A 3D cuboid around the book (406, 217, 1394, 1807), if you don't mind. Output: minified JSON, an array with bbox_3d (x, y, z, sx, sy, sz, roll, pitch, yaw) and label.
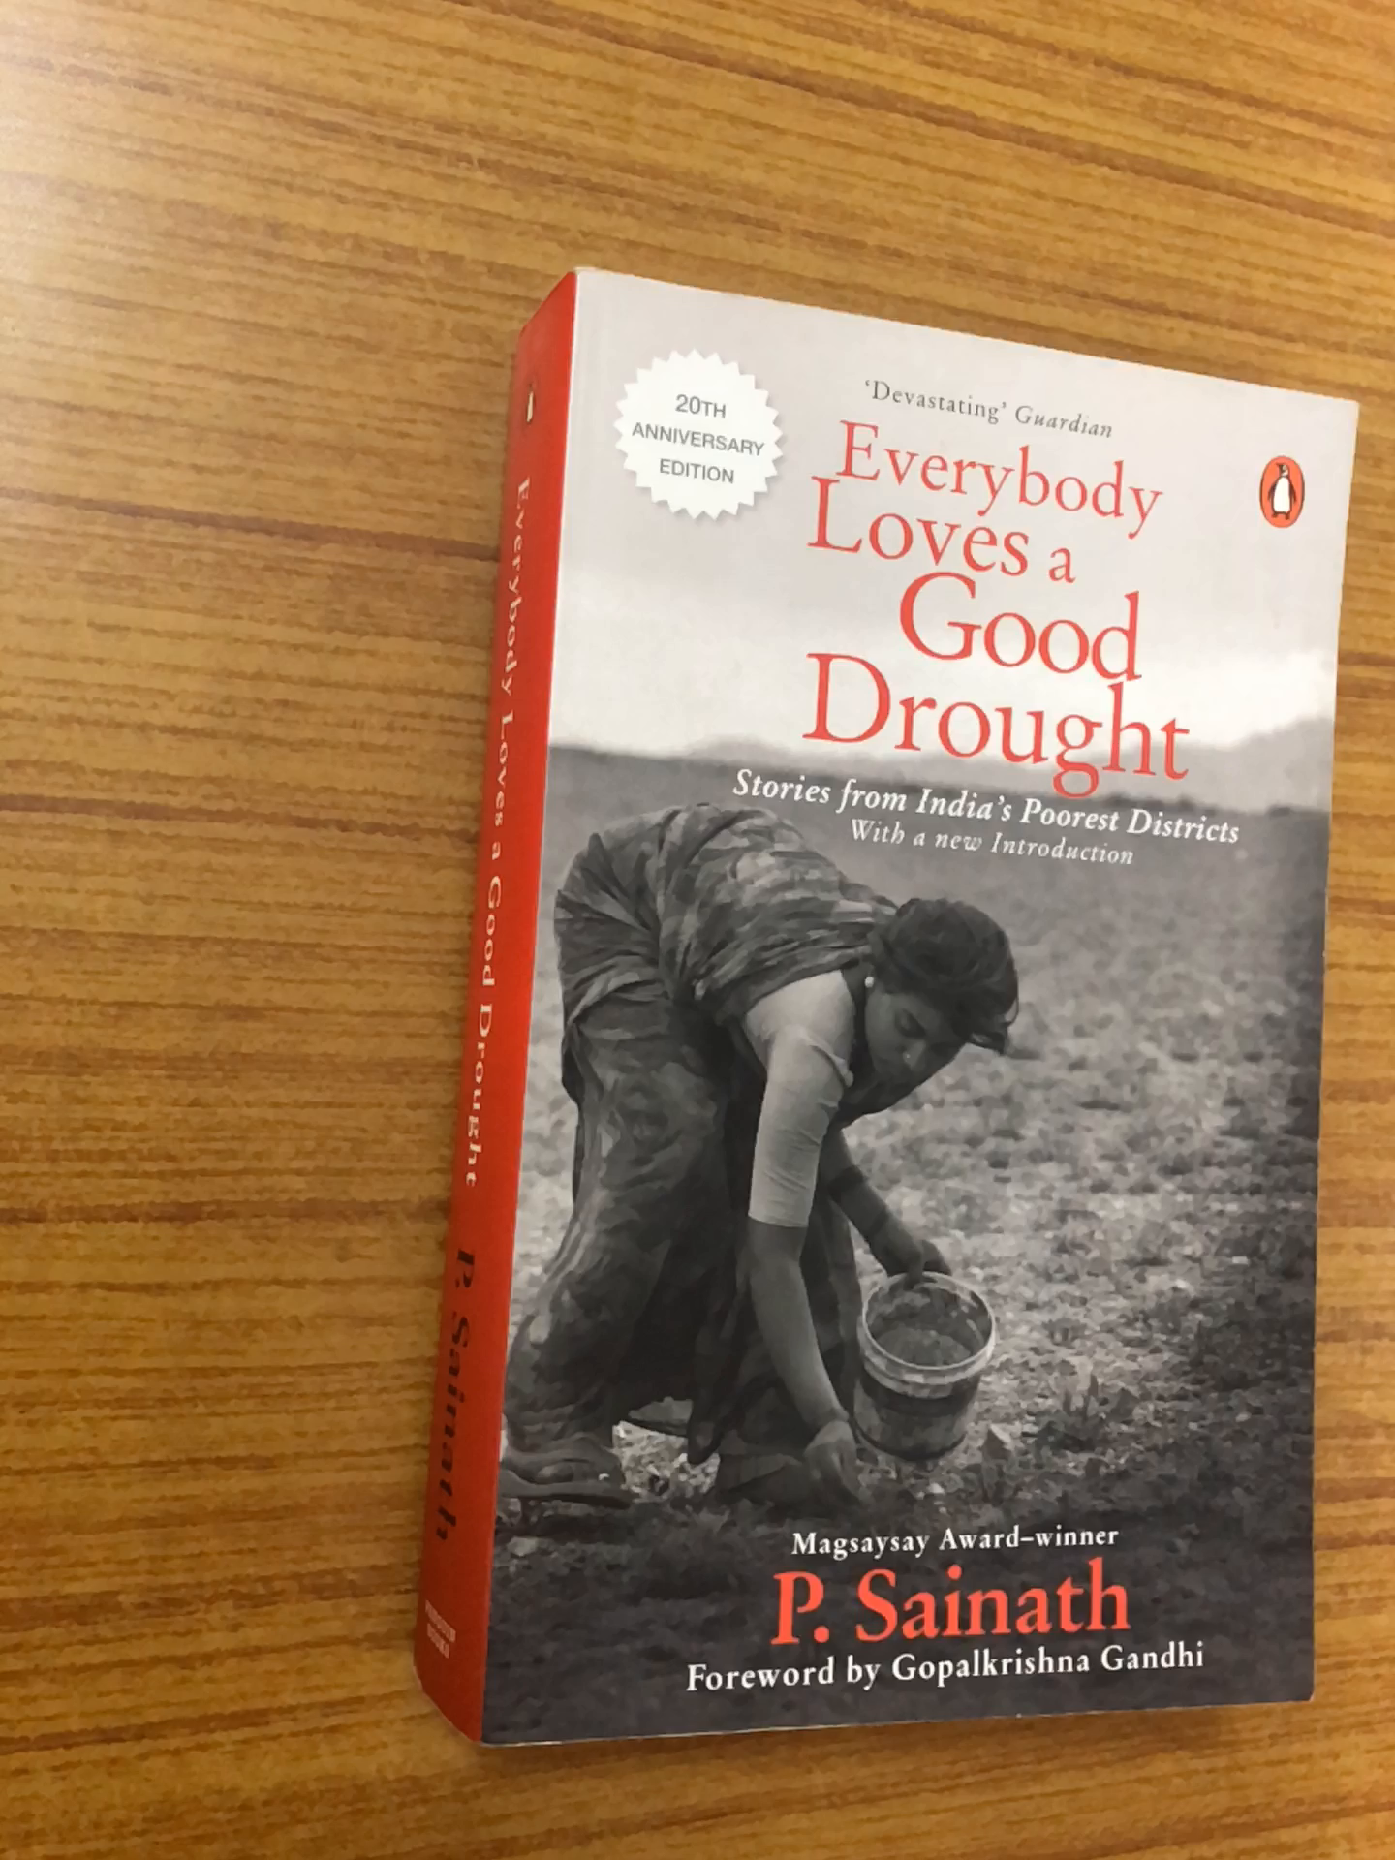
[{"bbox_3d":[0.035,0.014,0.246,0.140,0.040,0.210,5,87,-18],"label":"book"}]
